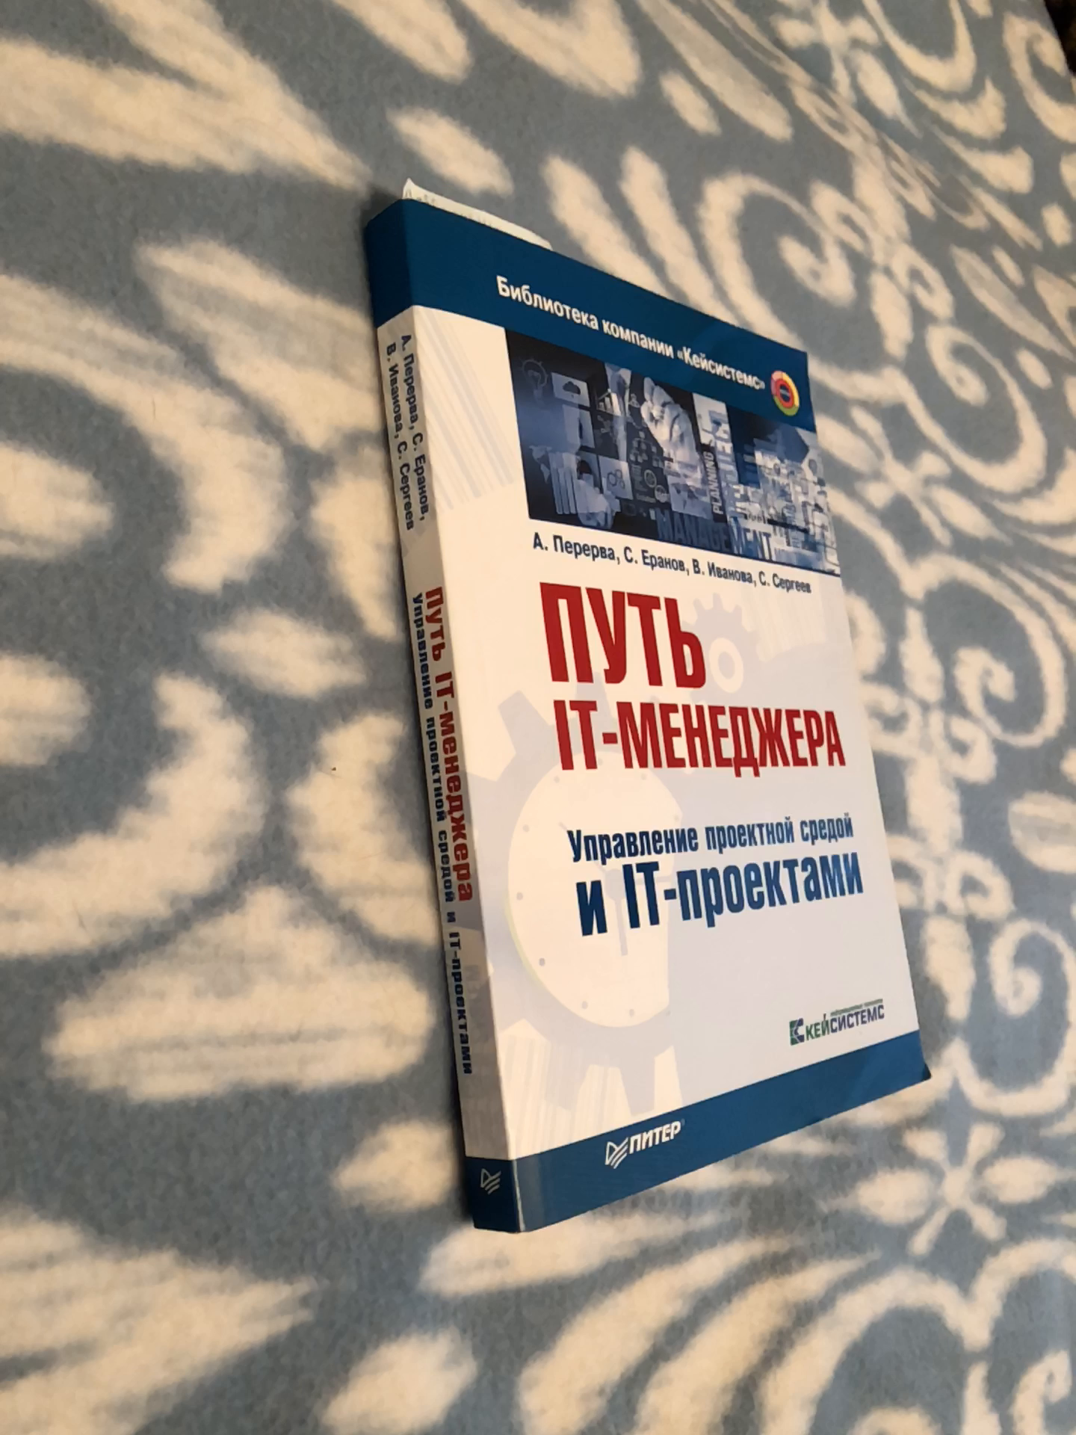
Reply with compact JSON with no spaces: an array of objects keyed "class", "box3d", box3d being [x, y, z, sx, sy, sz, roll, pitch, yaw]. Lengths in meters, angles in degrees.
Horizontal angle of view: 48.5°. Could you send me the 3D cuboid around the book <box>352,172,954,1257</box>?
[{"class":"book","box3d":[0.039,-0.005,0.313,0.173,0.019,0.228,1,78,-43]}]
